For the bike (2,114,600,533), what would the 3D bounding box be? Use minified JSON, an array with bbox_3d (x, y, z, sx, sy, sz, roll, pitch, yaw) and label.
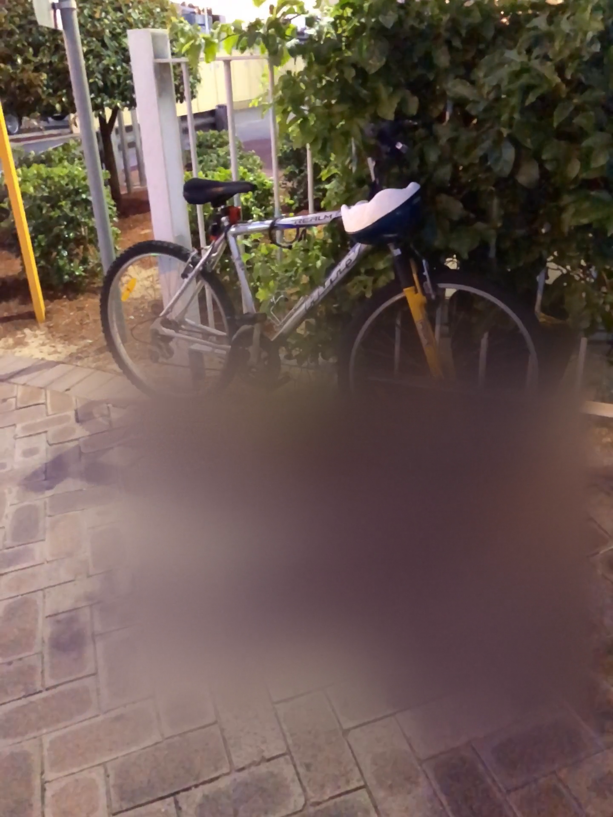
[{"bbox_3d":[-0.059,-0.377,2.166,1.694,0.995,0.554,11,29,25],"label":"bike"}]
